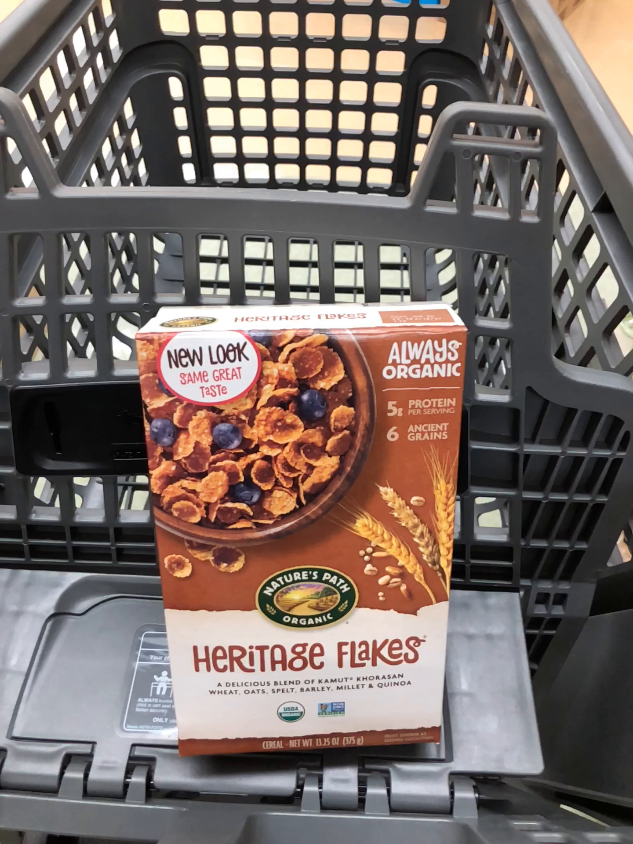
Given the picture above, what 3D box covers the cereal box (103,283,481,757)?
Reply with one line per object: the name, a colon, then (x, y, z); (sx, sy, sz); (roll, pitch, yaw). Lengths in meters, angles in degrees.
cereal box: (-0.008, 0.057, 0.384); (0.170, 0.250, 0.060); (-2, 19, -2)
